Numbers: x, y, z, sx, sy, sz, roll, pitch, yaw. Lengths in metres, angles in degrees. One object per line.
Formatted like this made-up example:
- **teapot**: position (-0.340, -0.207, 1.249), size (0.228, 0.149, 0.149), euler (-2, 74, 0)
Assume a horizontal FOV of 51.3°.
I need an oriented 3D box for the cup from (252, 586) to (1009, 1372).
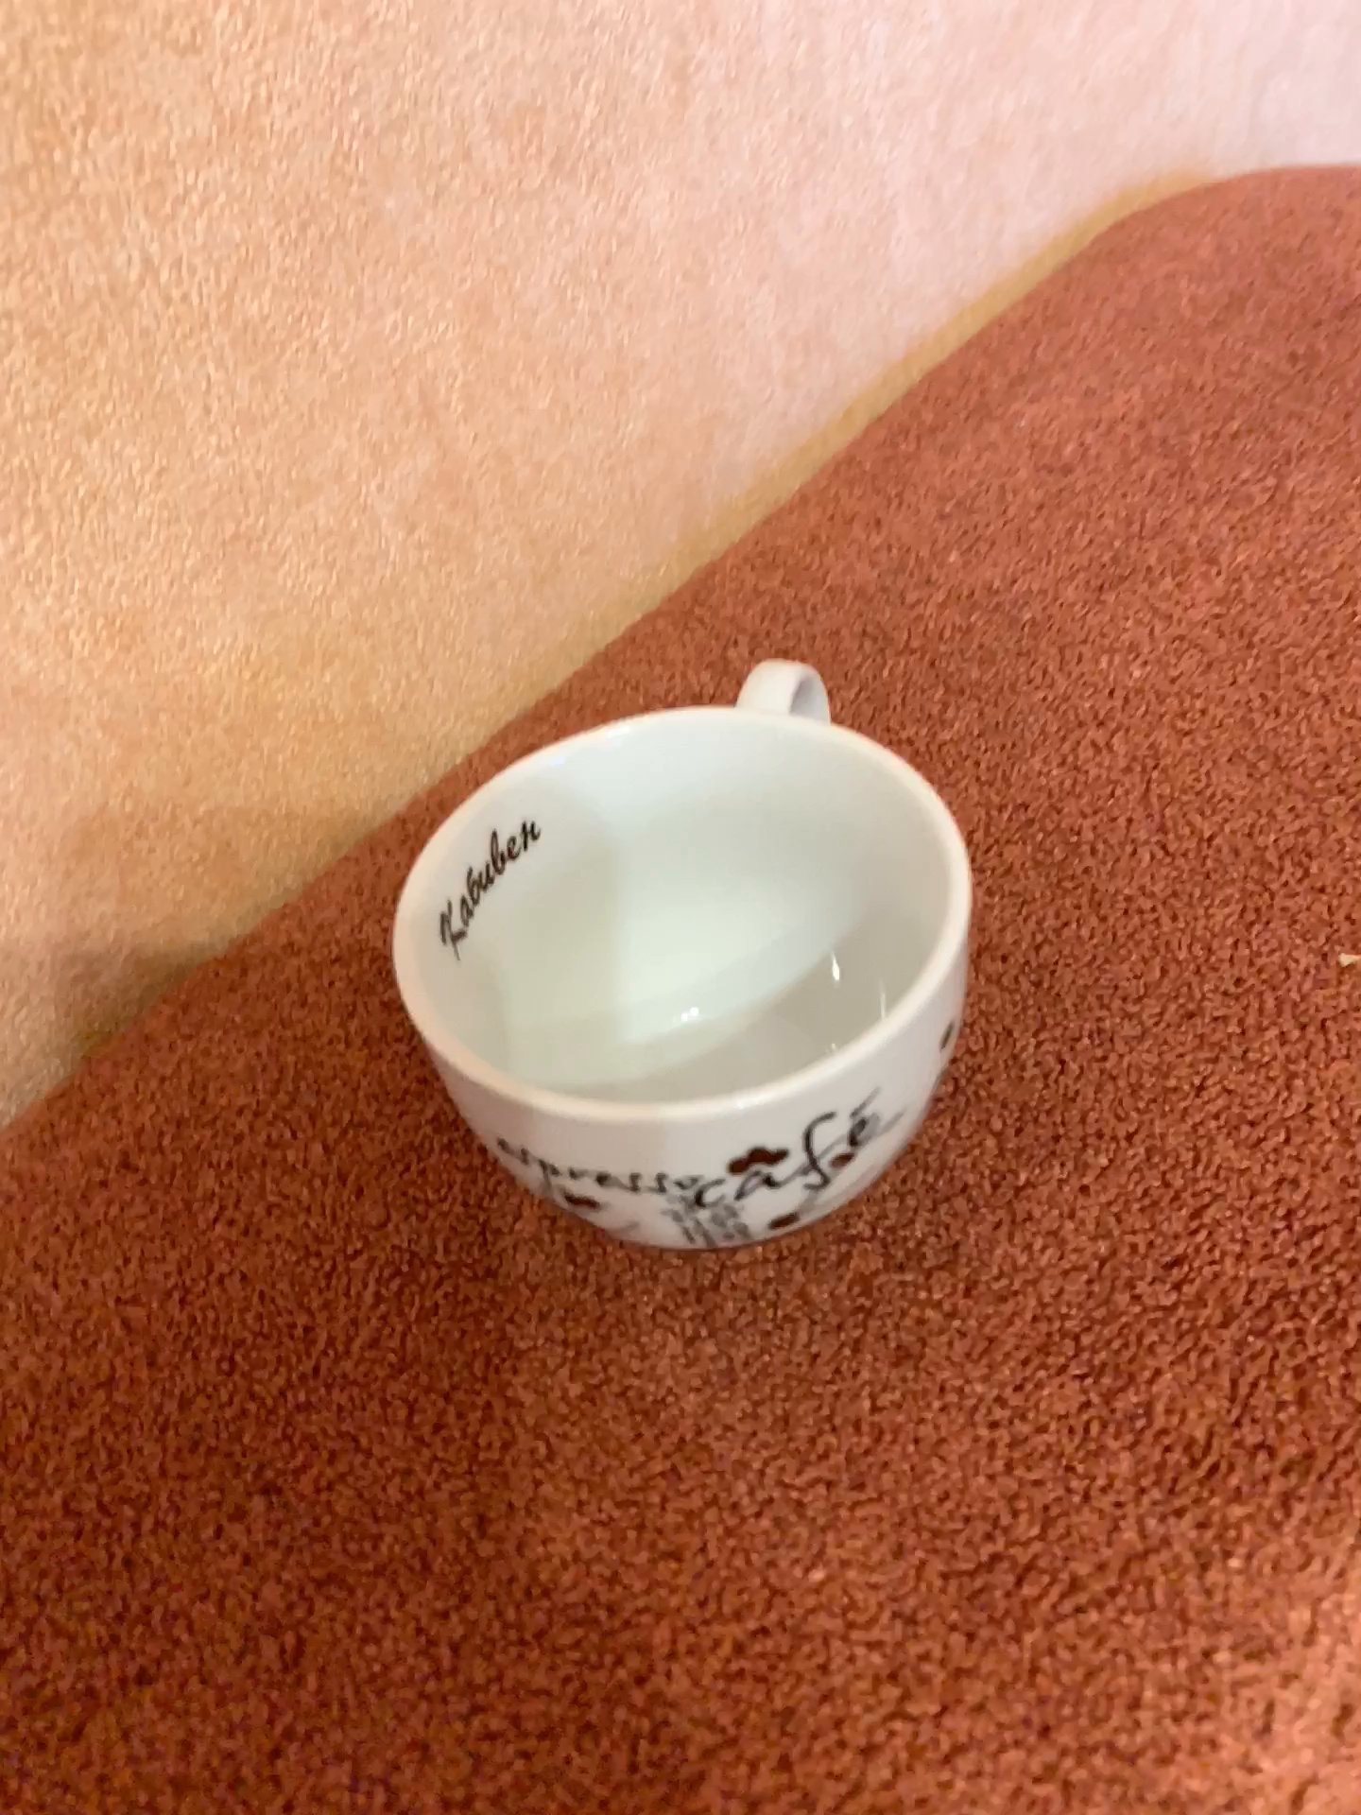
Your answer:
- **cup**: position (0.002, 0.003, 0.175), size (0.065, 0.040, 0.083), euler (7, 49, 18)
